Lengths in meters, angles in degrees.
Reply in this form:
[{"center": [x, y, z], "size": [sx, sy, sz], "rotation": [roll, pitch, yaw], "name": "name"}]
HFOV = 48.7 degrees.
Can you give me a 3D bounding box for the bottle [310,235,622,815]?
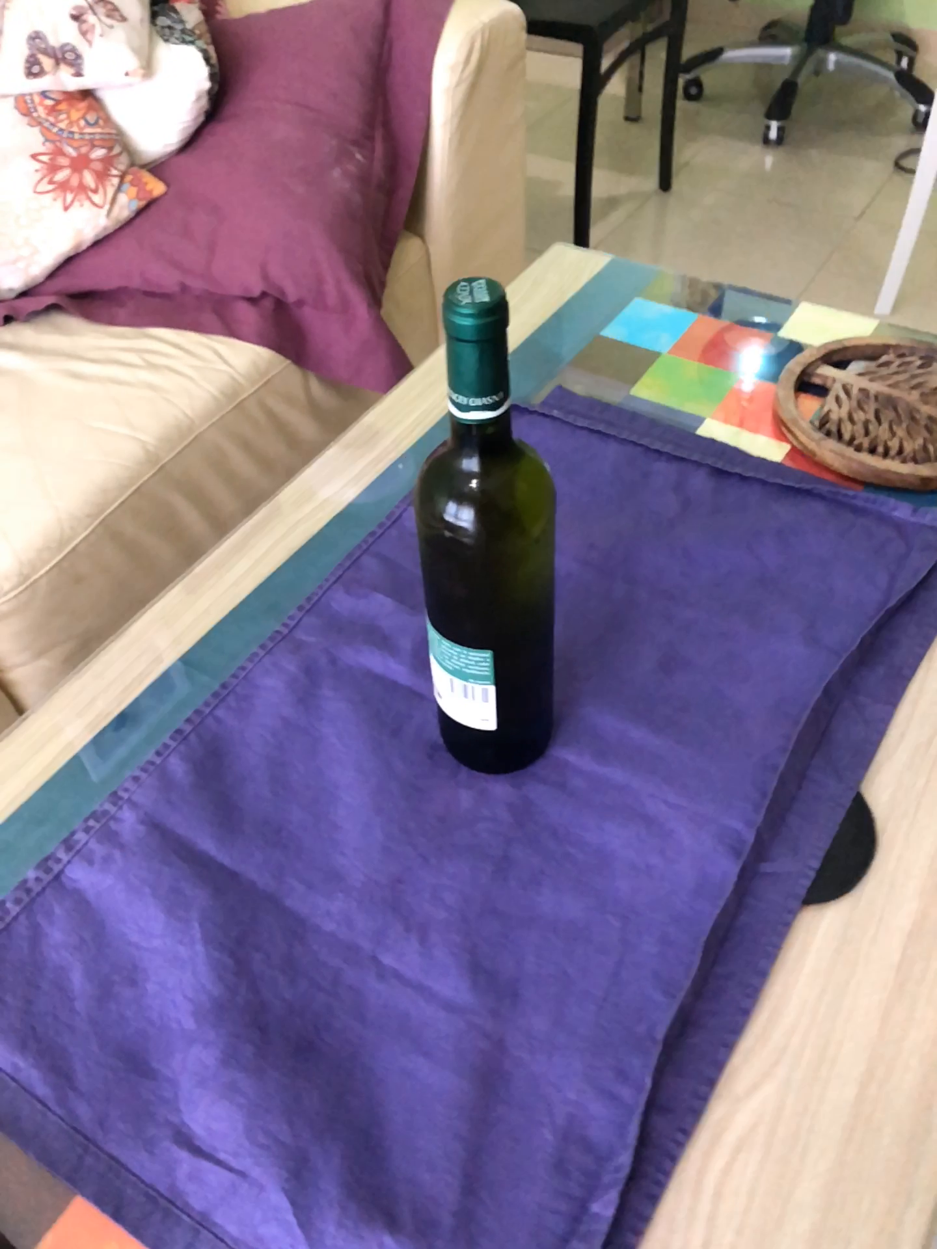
[{"center": [0.004, -0.035, 0.514], "size": [0.090, 0.269, 0.090], "rotation": [-2, 46, 2], "name": "bottle"}]
